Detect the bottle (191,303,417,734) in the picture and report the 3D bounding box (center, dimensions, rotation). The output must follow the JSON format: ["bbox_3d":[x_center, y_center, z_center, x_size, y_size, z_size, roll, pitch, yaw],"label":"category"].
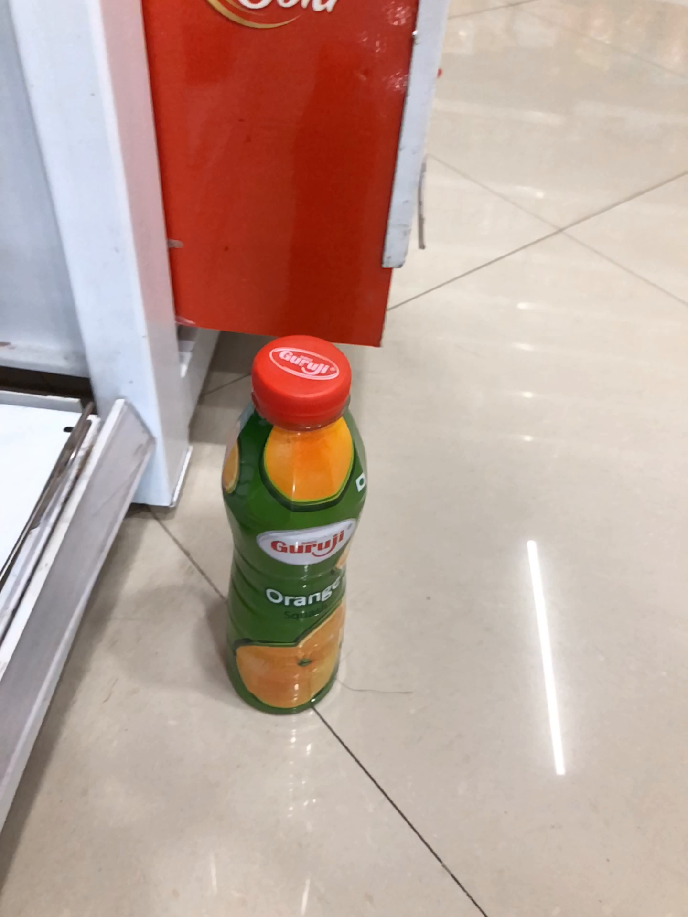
[{"bbox_3d":[-0.026,0.046,0.382,0.070,0.238,0.070,3,47,-3],"label":"bottle"}]
